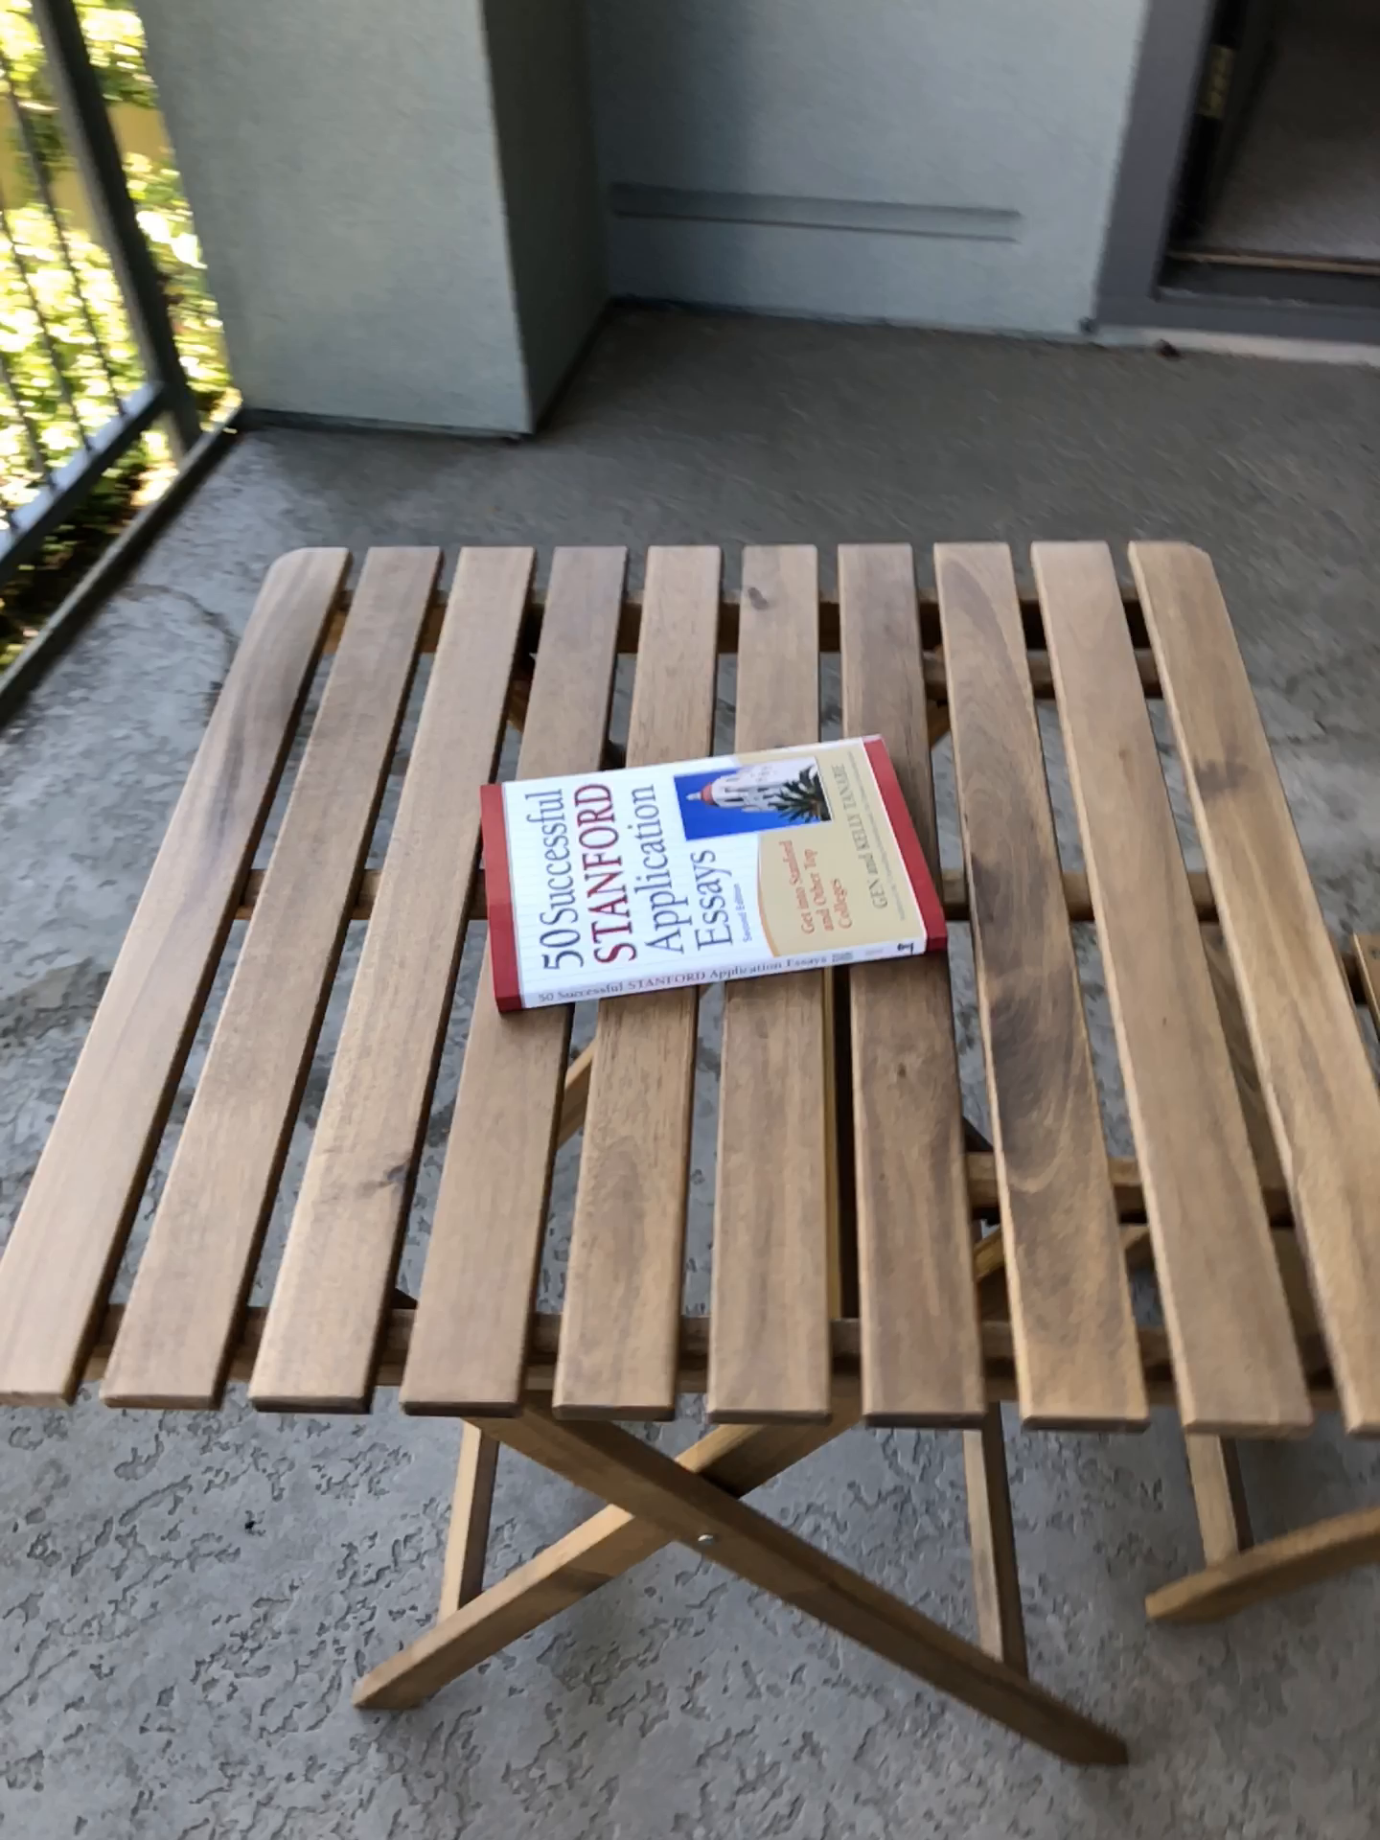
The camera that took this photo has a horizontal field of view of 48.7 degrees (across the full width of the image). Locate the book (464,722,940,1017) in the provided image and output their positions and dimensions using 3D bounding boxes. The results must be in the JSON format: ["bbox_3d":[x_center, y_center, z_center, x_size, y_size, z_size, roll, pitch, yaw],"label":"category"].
[{"bbox_3d":[0.000,-0.031,0.794,0.224,0.020,0.157,-8,48,-5],"label":"book"}]
